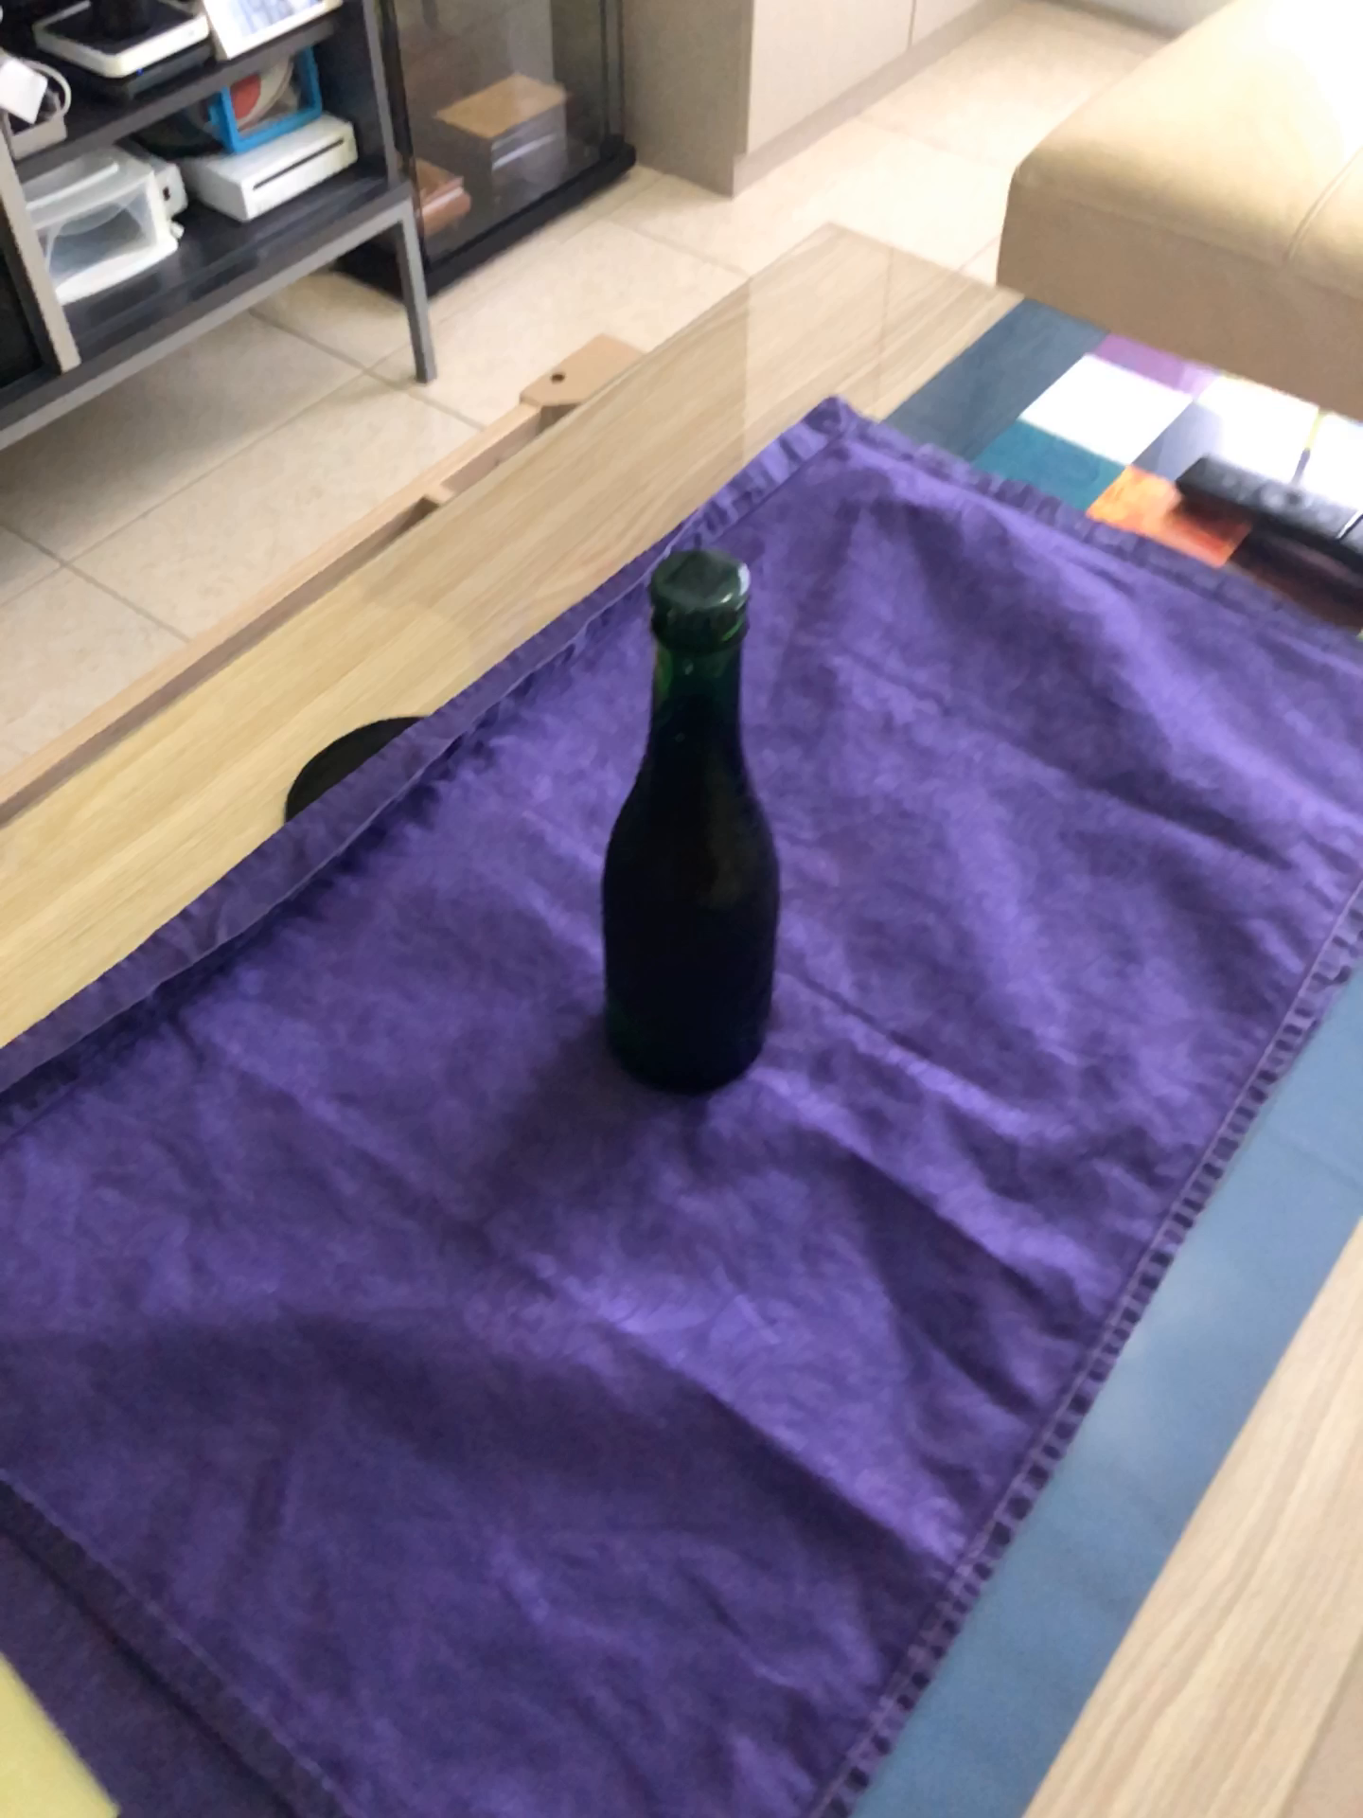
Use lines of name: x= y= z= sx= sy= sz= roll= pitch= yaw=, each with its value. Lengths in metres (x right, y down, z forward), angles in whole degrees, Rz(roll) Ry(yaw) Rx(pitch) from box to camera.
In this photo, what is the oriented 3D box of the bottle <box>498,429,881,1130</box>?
bottle: x=0.000 y=-0.029 z=0.487 sx=0.070 sy=0.219 sz=0.080 roll=-26 pitch=57 yaw=-19
